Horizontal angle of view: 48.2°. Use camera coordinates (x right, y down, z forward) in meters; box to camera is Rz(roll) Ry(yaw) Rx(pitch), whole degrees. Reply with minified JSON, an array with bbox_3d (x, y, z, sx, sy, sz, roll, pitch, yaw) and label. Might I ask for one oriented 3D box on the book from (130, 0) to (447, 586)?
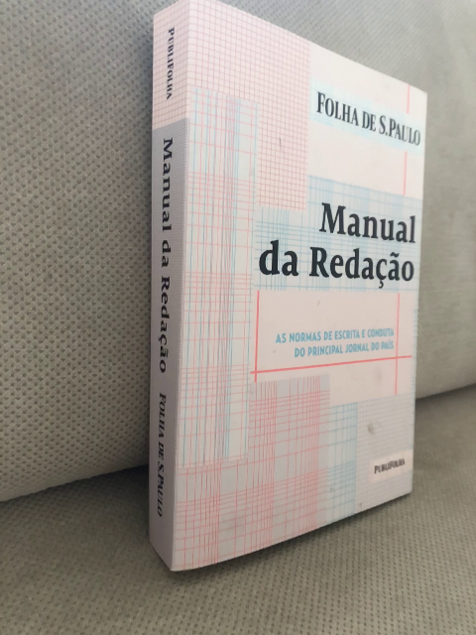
[{"bbox_3d":[0.033,-0.015,0.264,0.166,0.229,0.040,-2,4,-35],"label":"book"}]
